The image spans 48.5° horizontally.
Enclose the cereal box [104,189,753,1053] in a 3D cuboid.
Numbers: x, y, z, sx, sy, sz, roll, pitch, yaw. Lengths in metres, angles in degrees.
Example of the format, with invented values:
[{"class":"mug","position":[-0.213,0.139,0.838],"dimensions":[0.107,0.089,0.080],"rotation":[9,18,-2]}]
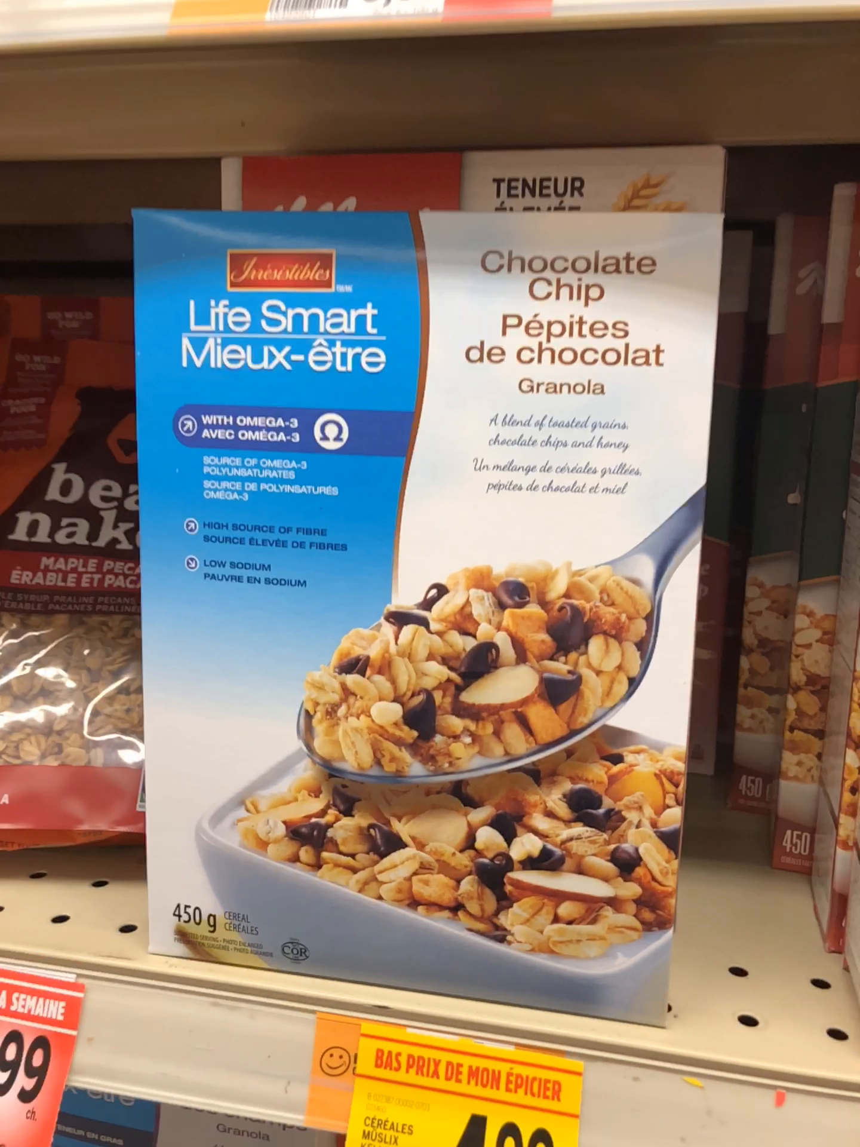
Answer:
[{"class":"cereal box","position":[-0.006,0.011,0.300],"dimensions":[0.180,0.239,0.050],"rotation":[3,7,10]}]
